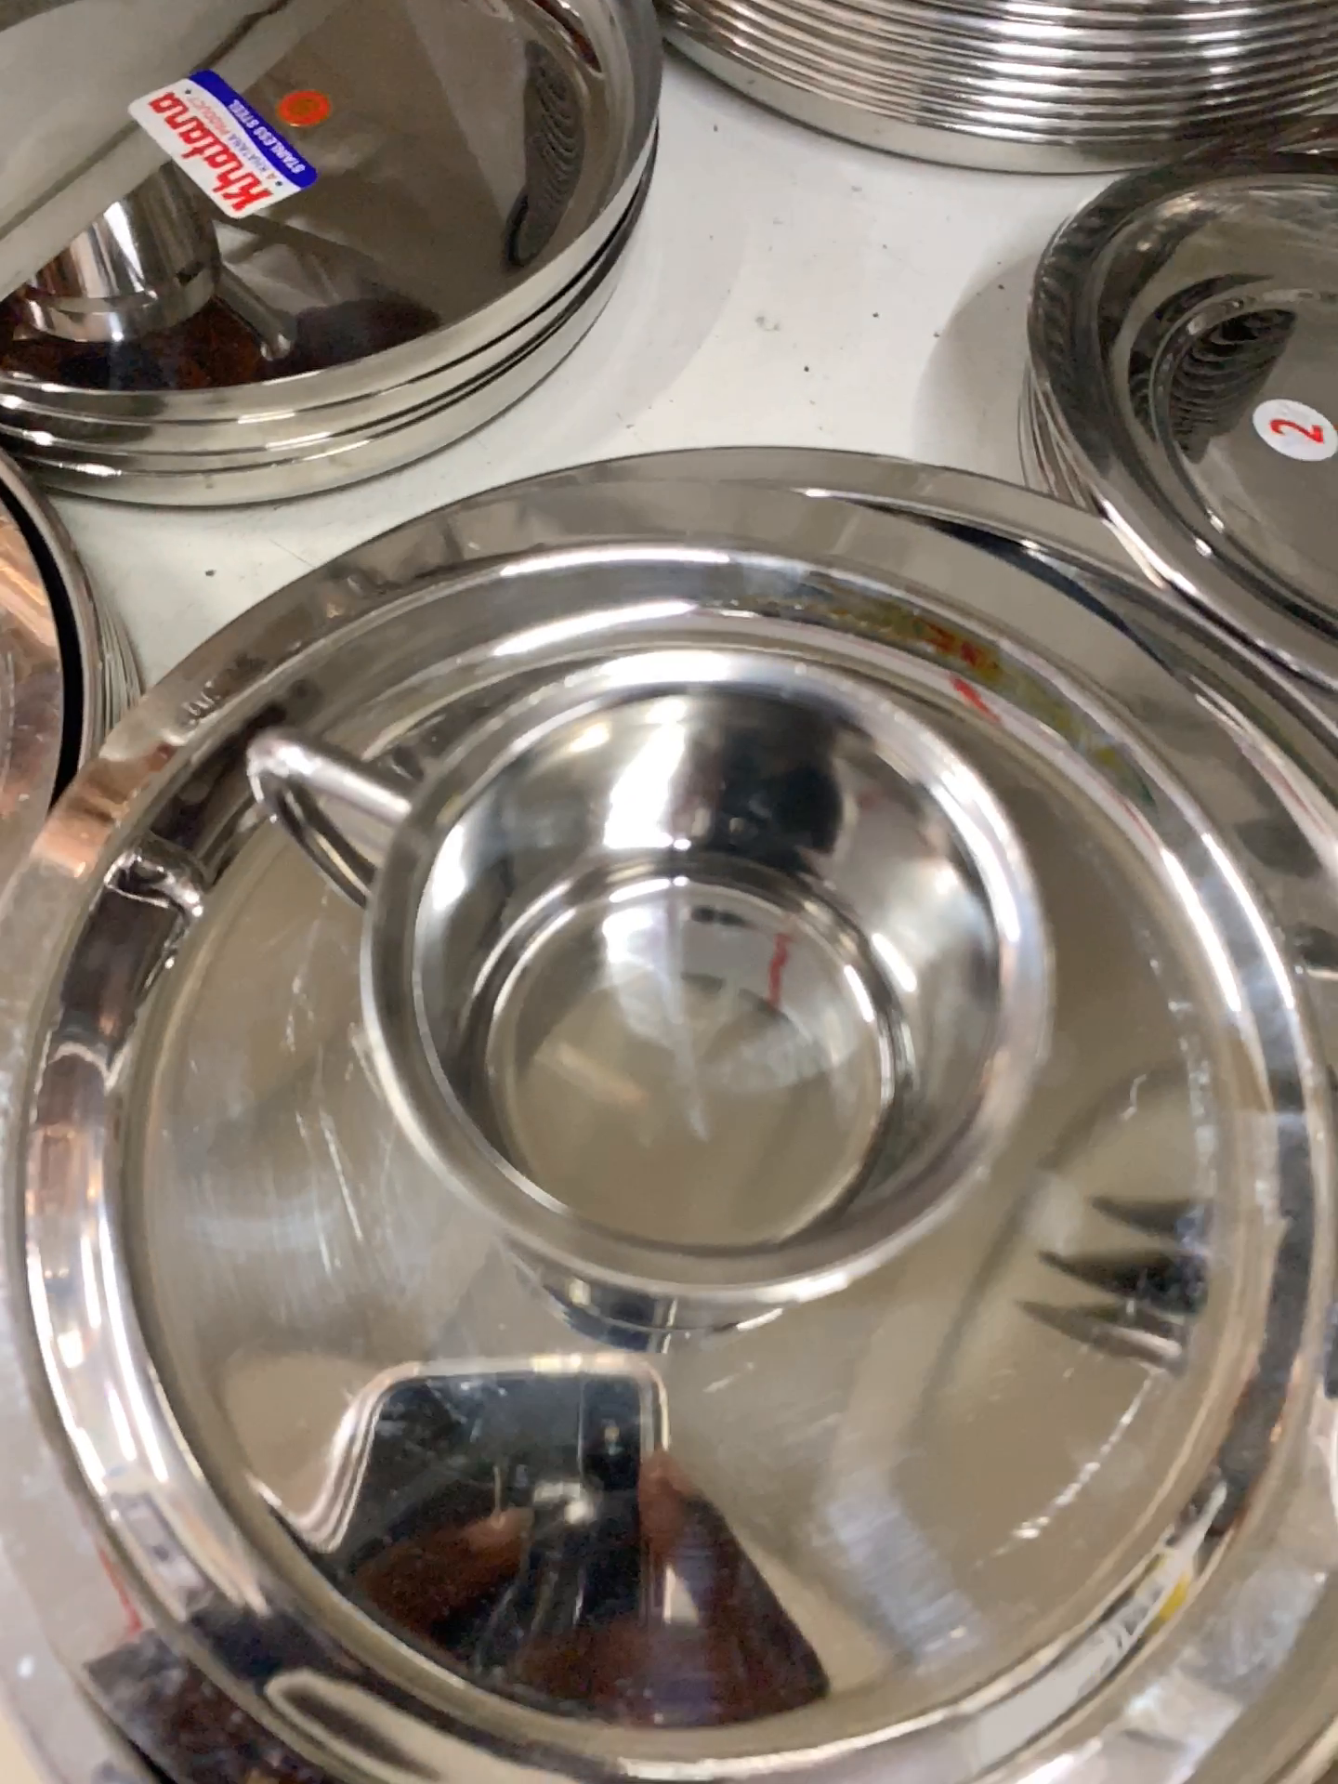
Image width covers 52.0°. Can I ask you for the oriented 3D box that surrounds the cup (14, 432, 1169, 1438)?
[{"bbox_3d":[-0.006,0.010,0.166,0.090,0.070,0.070,27,70,9],"label":"cup"}]
